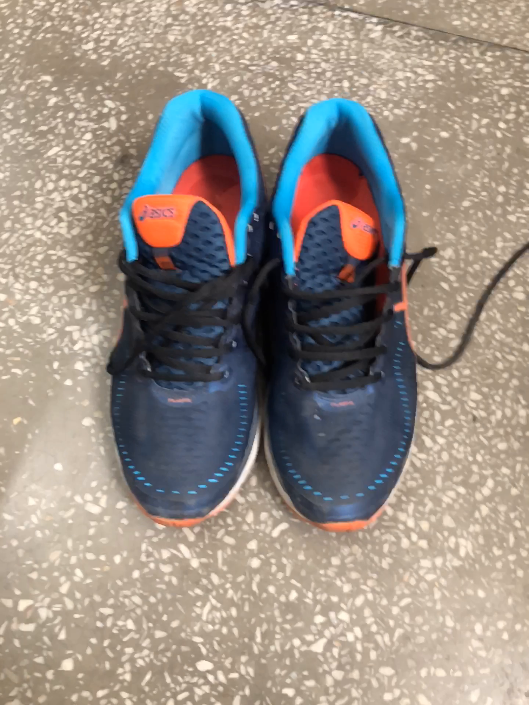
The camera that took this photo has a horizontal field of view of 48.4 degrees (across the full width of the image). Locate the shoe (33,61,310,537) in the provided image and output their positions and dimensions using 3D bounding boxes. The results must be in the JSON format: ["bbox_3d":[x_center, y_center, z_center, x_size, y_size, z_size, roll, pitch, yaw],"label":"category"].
[{"bbox_3d":[-0.043,-0.038,0.388,0.118,0.100,0.288,6,69,1],"label":"shoe"}]

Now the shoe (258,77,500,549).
[{"bbox_3d":[0.065,-0.028,0.388,0.118,0.100,0.288,4,69,0],"label":"shoe"}]
